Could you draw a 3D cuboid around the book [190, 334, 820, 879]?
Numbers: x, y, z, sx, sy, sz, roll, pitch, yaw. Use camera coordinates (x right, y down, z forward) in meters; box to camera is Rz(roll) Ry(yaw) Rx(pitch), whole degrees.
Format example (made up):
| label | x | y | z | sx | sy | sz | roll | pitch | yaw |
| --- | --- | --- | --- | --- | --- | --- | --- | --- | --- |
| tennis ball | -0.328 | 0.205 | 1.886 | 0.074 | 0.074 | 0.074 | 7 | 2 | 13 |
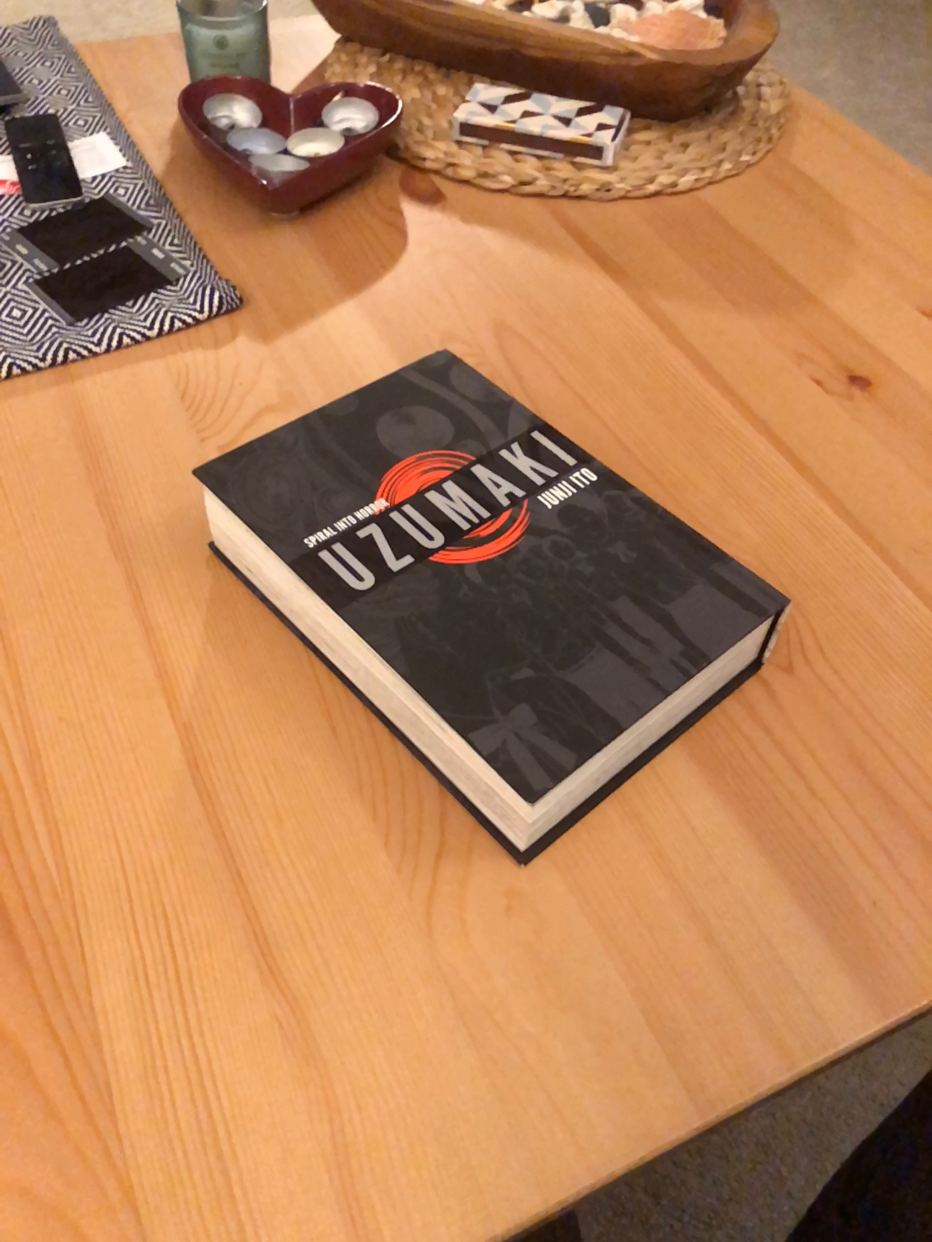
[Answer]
| label | x | y | z | sx | sy | sz | roll | pitch | yaw |
| --- | --- | --- | --- | --- | --- | --- | --- | --- | --- |
| book | 0.011 | -0.023 | 0.431 | 0.157 | 0.048 | 0.204 | -33 | 60 | -27 |
